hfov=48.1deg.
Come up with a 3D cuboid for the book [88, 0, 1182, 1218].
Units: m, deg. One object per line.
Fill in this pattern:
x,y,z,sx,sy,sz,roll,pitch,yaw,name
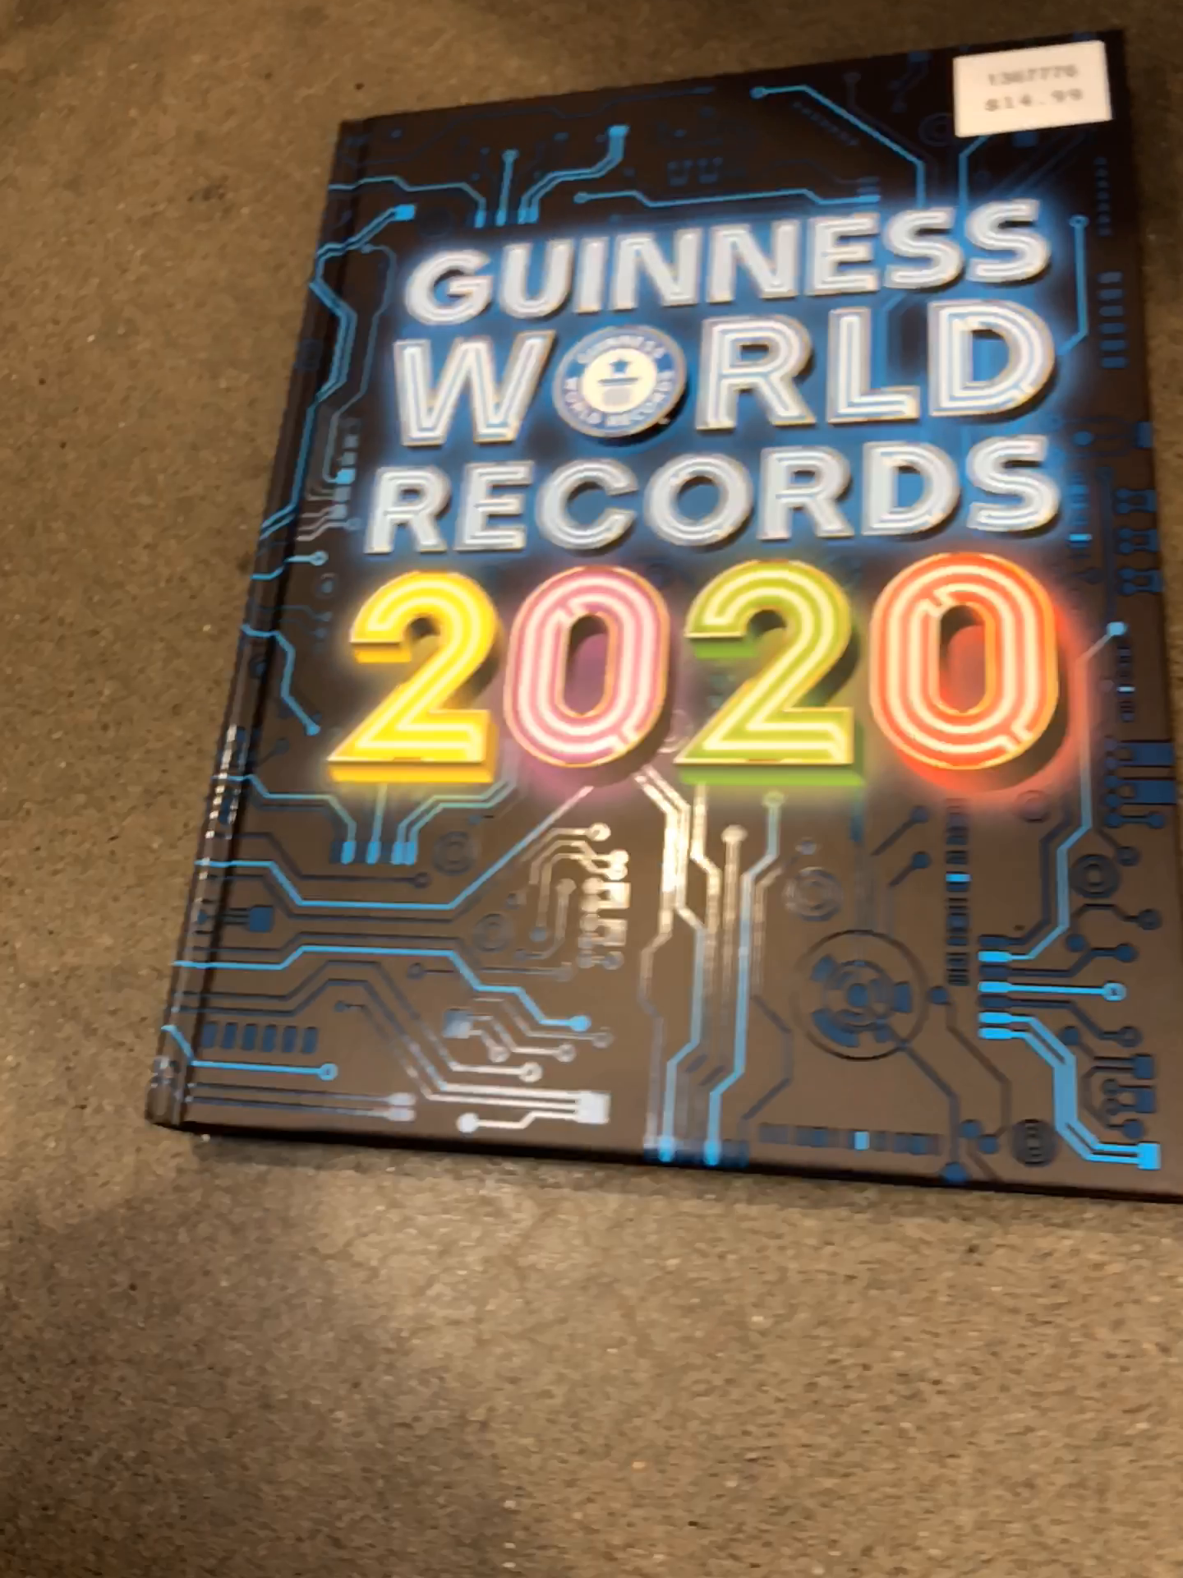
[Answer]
0.019,-0.063,0.343,0.240,0.030,0.312,1,69,13,book
